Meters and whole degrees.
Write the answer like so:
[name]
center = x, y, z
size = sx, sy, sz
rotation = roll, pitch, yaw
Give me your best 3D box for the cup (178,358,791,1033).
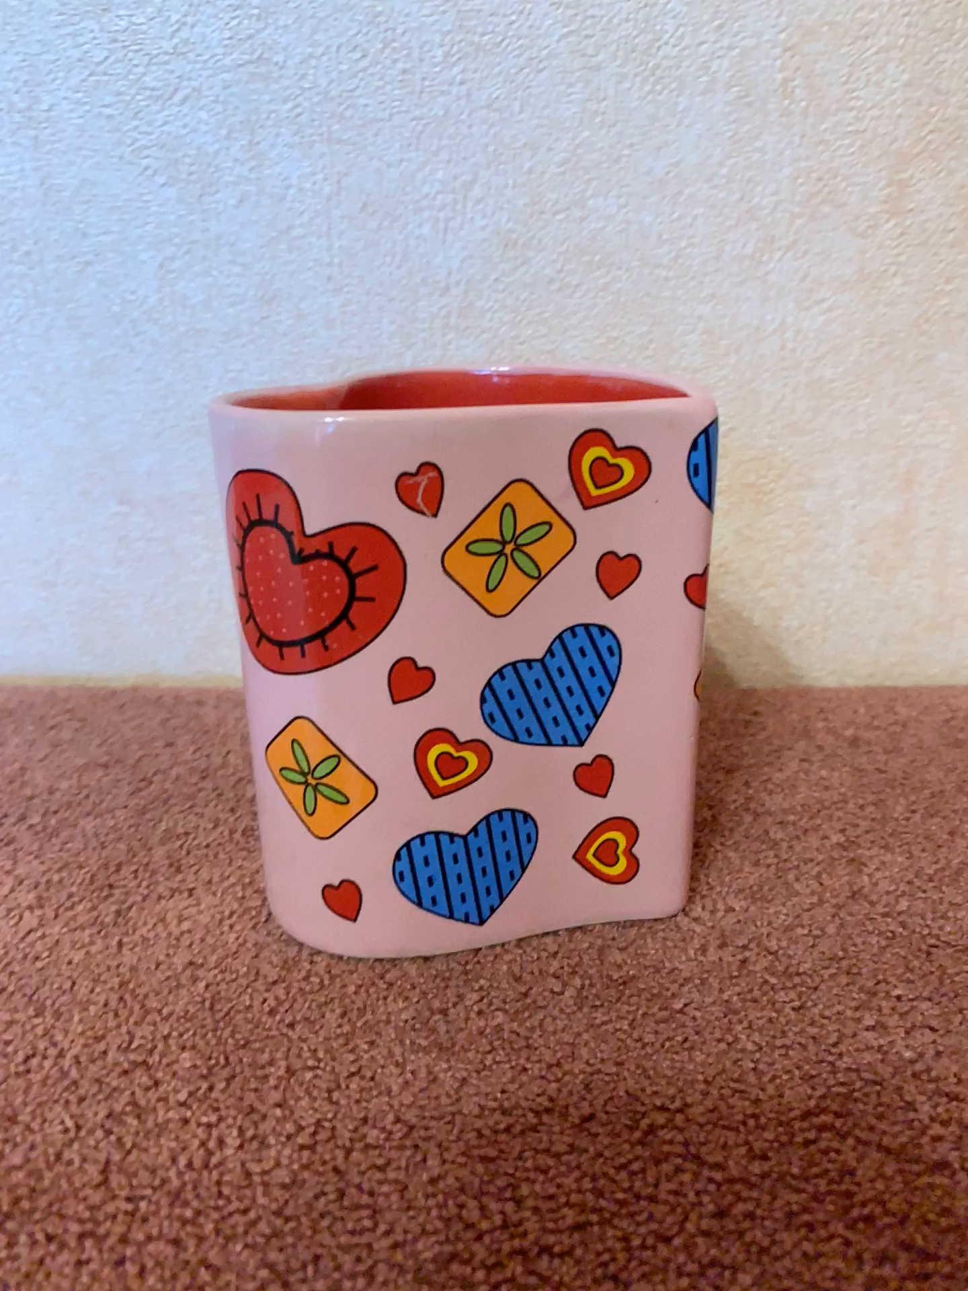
[cup]
center = -0.007, -0.002, 0.188
size = 0.085, 0.091, 0.082
rotation = -1, 19, 0
